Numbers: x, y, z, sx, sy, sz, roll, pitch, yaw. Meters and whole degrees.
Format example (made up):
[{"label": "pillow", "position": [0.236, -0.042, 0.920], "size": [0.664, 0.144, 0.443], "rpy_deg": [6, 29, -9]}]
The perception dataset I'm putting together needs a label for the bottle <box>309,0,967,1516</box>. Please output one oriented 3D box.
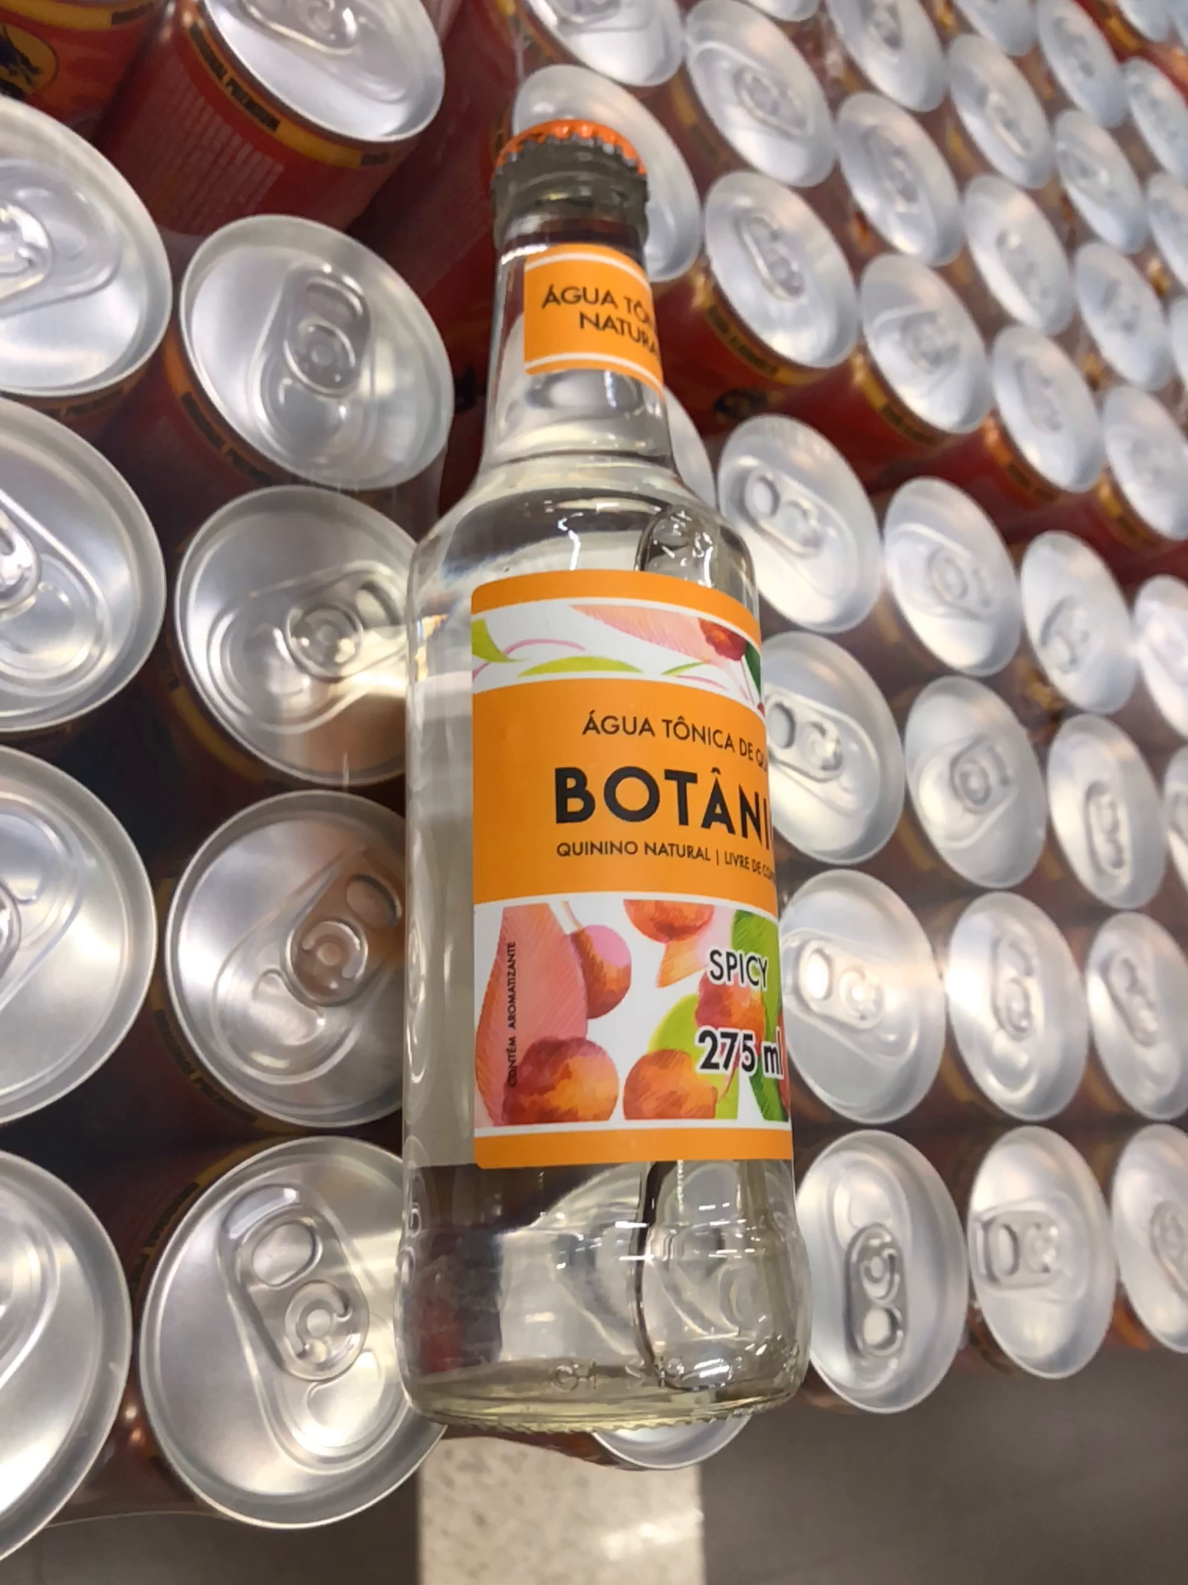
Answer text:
[{"label": "bottle", "position": [0.007, -0.019, 0.200], "size": [0.070, 0.050, 0.210], "rpy_deg": [12, 72, -37]}]
